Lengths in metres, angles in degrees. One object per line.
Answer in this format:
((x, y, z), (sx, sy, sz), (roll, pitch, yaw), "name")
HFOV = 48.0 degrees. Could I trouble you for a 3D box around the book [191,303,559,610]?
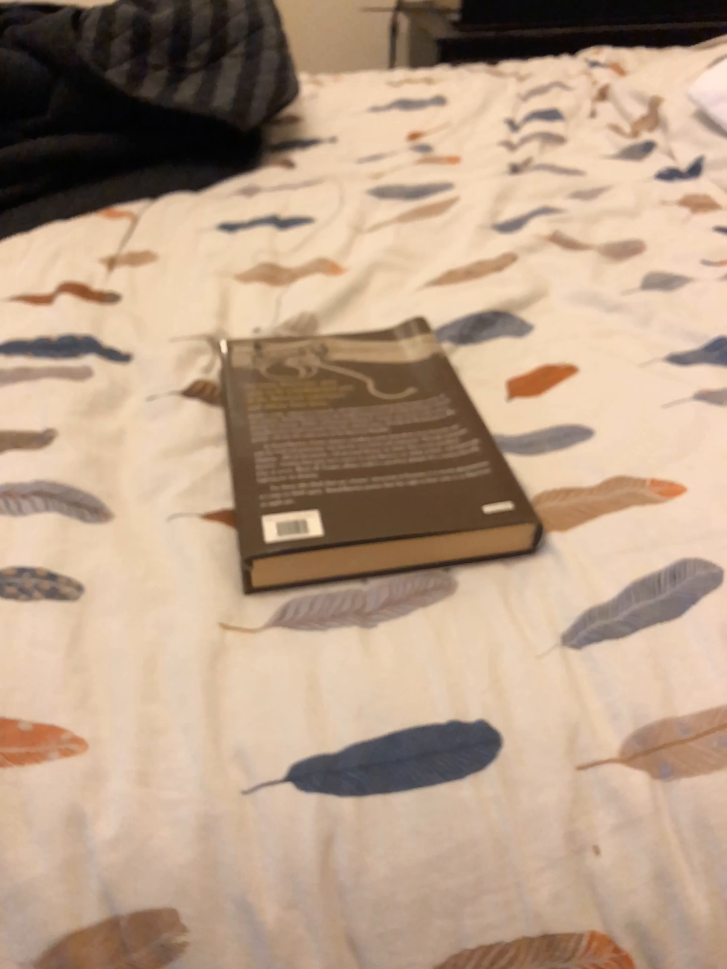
((-0.011, -0.035, 0.506), (0.180, 0.030, 0.241), (-7, 40, -8), "book")
